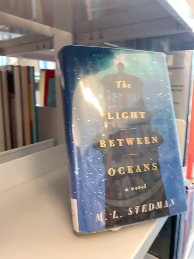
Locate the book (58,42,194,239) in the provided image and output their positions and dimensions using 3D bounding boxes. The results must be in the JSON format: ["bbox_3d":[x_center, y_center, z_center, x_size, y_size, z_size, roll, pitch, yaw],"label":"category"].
[{"bbox_3d":[0.037,0.003,0.275,0.155,0.225,0.042,-4,-7,-19],"label":"book"}]
